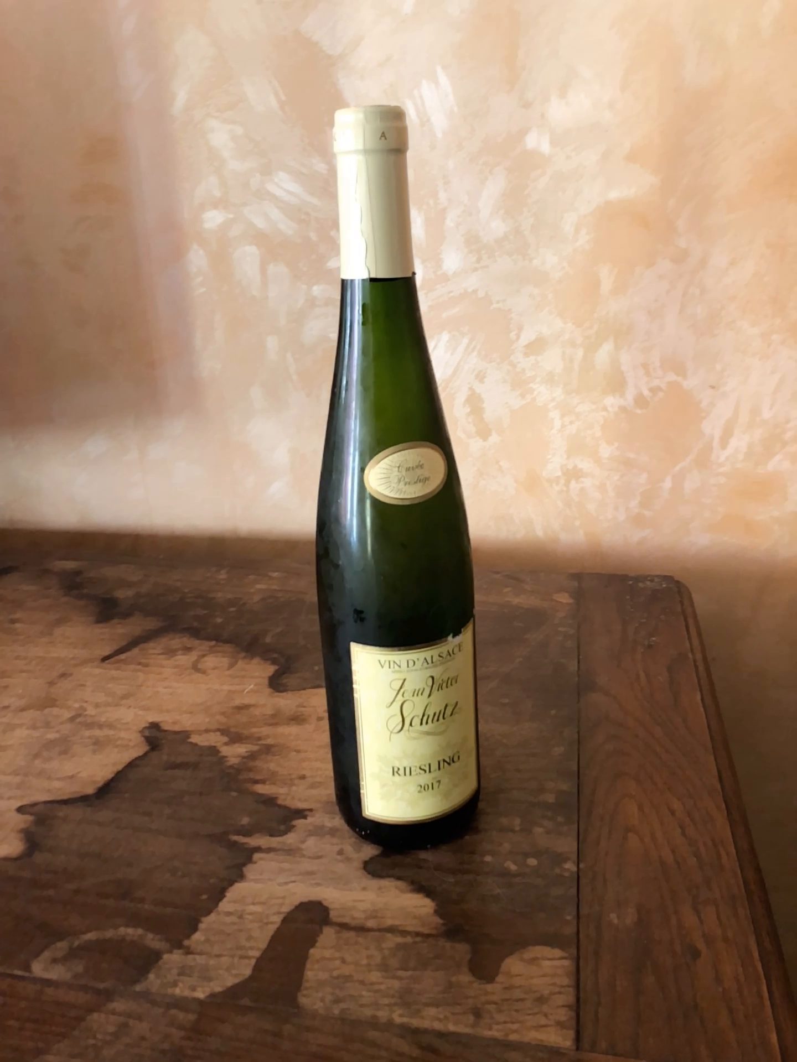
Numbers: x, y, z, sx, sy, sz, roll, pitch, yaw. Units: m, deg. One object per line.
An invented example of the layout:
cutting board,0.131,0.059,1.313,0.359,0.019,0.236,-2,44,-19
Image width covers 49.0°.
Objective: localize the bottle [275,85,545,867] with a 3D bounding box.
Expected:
bottle,0.004,-0.014,0.385,0.080,0.318,0.080,-1,22,0
